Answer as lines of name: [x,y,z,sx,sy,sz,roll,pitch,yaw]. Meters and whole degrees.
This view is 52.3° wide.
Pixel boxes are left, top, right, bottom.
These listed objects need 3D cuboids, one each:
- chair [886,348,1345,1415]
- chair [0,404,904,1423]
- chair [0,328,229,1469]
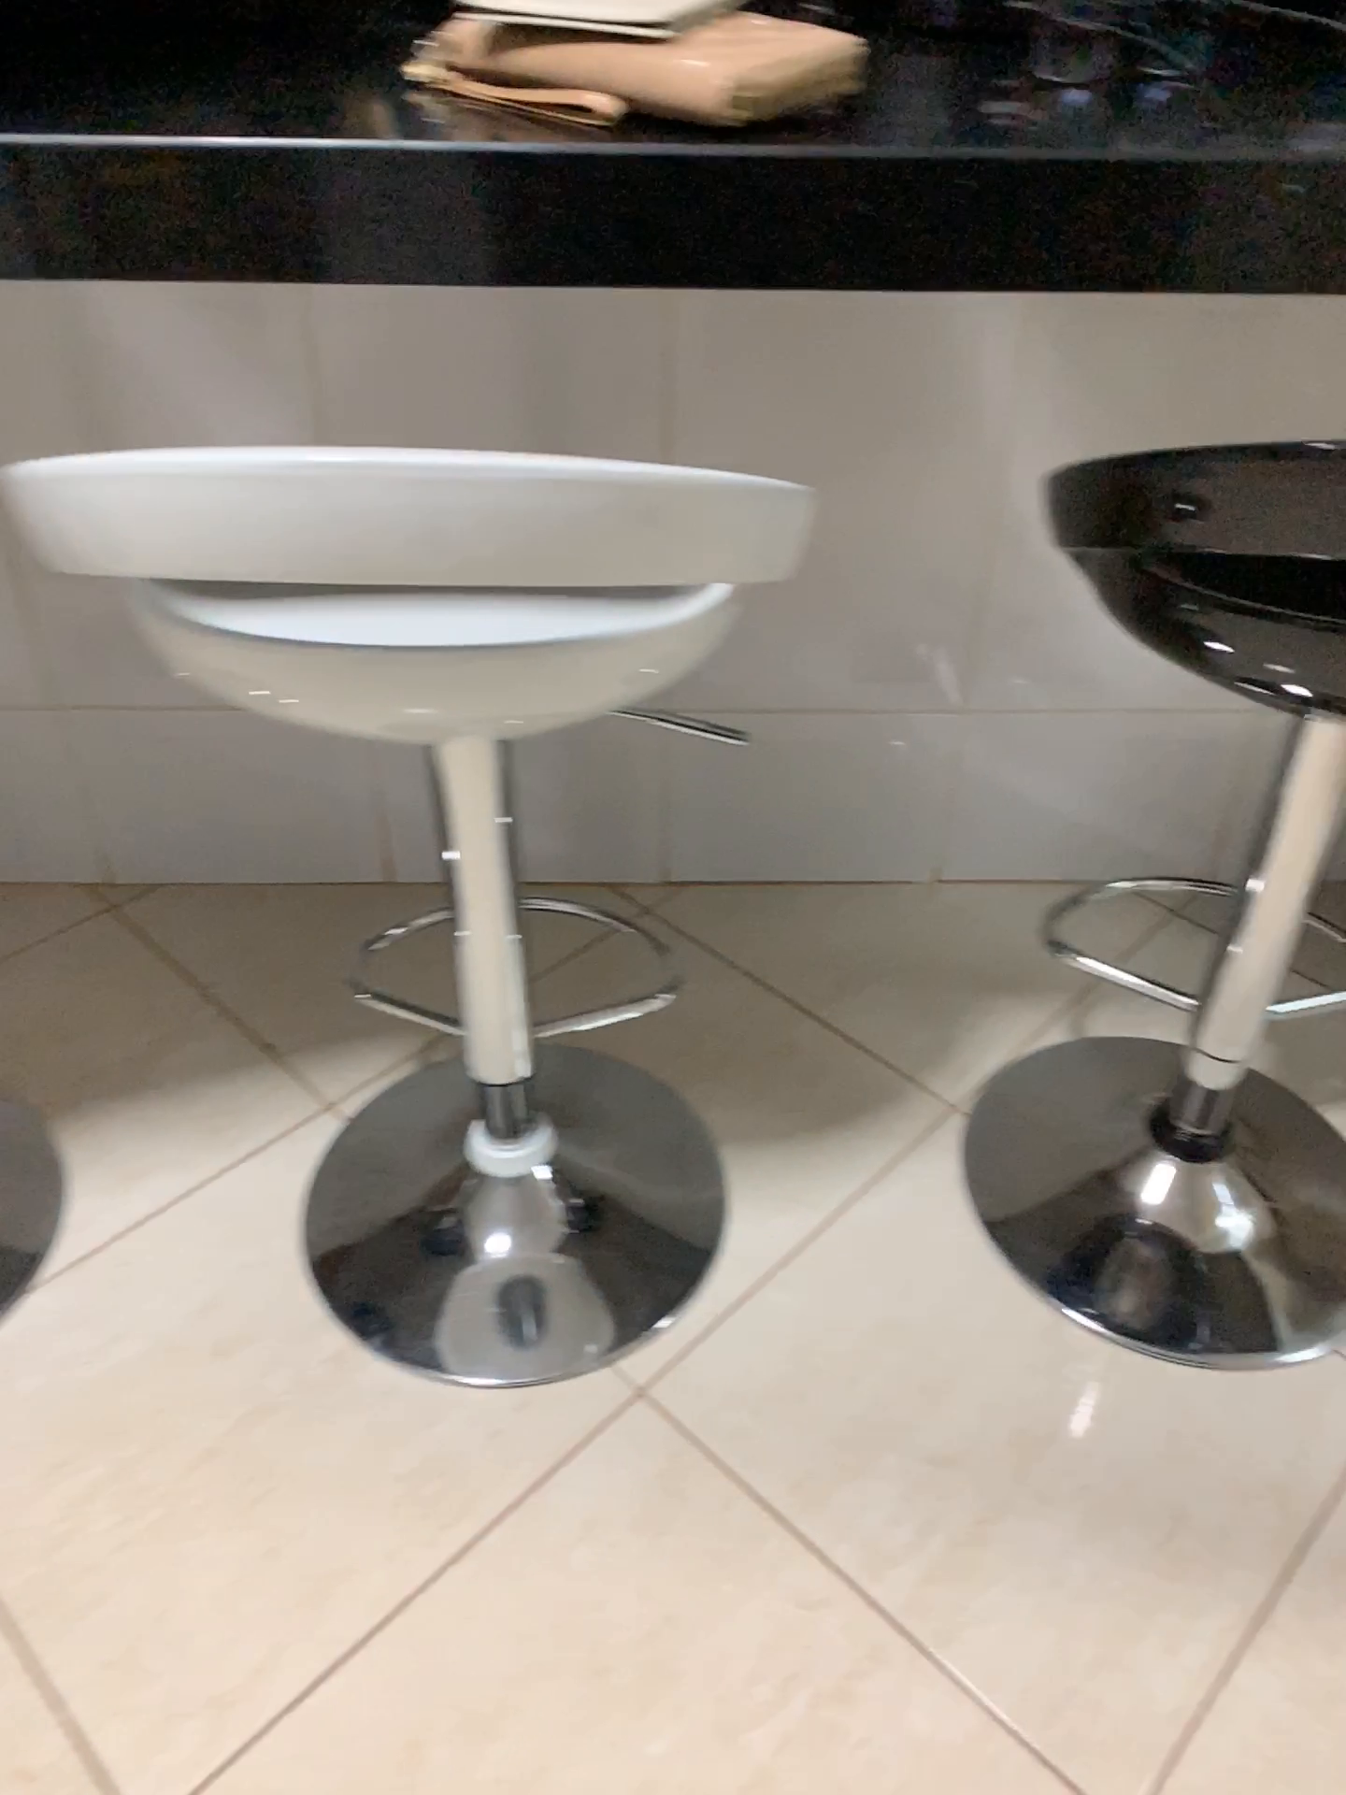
chair: [0.476,-0.007,1.059,0.520,0.664,0.444,3,37,2]
chair: [-0.153,0.019,1.028,0.510,0.634,0.414,-1,37,-2]
chair: [-0.772,0.007,1.109,0.570,0.753,0.515,-1,37,-2]
